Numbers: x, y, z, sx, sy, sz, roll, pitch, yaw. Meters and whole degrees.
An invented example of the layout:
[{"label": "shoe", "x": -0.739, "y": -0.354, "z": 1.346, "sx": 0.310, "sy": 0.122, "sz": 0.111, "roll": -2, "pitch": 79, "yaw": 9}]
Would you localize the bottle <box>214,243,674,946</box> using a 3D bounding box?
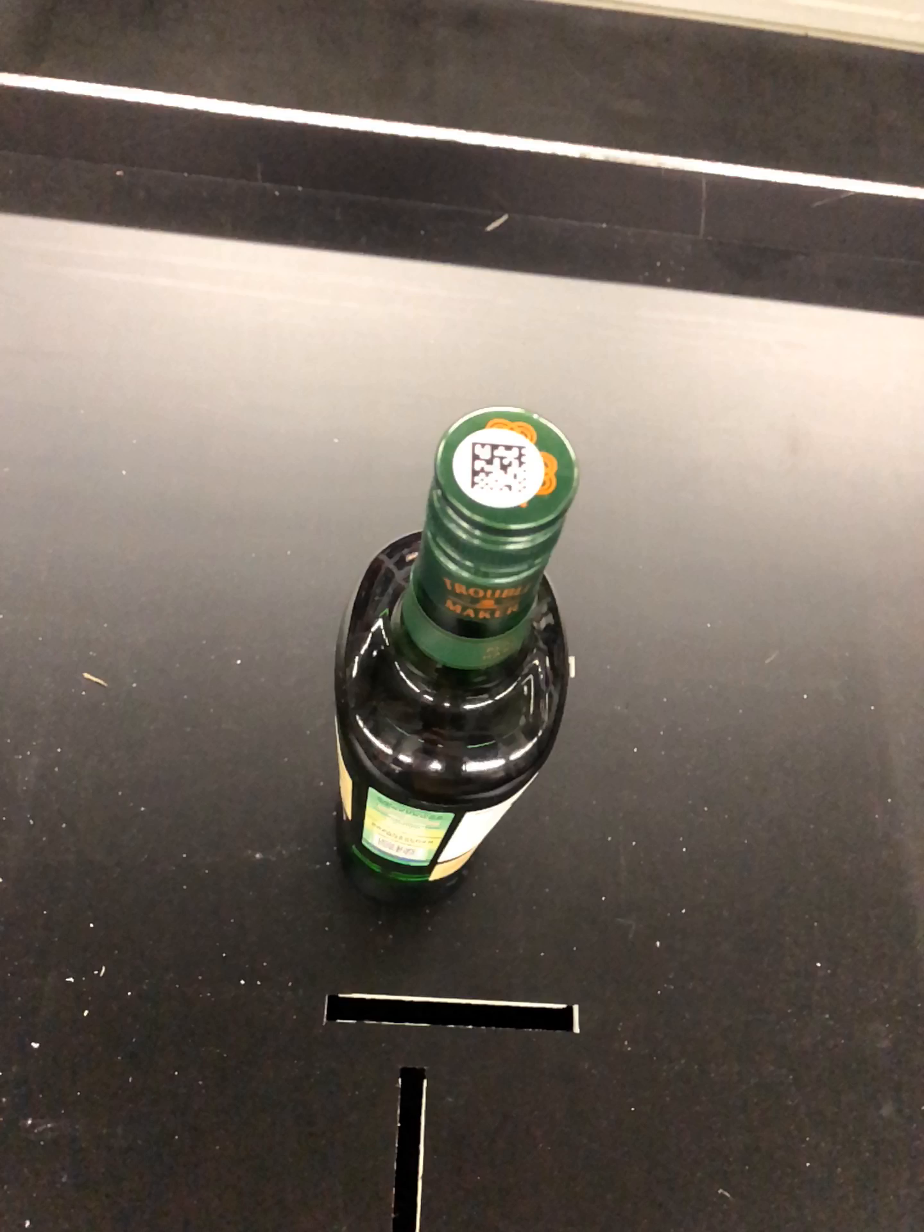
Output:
[{"label": "bottle", "x": -0.013, "y": 0.032, "z": 0.337, "sx": 0.080, "sy": 0.299, "sz": 0.100, "roll": 8, "pitch": 64, "yaw": -2}]
